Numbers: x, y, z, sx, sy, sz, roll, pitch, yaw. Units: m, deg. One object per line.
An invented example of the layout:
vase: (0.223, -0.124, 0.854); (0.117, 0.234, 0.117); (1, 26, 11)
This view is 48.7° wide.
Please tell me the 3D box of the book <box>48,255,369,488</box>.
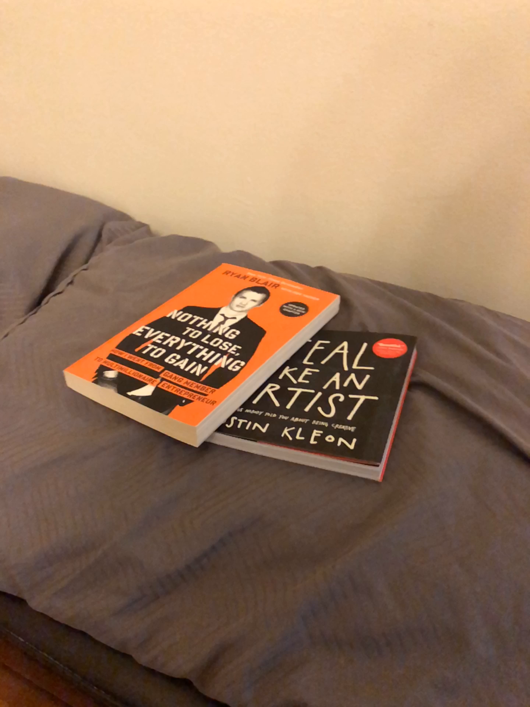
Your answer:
book: (-0.038, -0.006, 0.506); (0.170, 0.020, 0.231); (21, 44, 25)

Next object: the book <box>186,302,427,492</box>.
book: (0.042, 0.022, 0.470); (0.150, 0.020, 0.171); (11, 39, 16)
